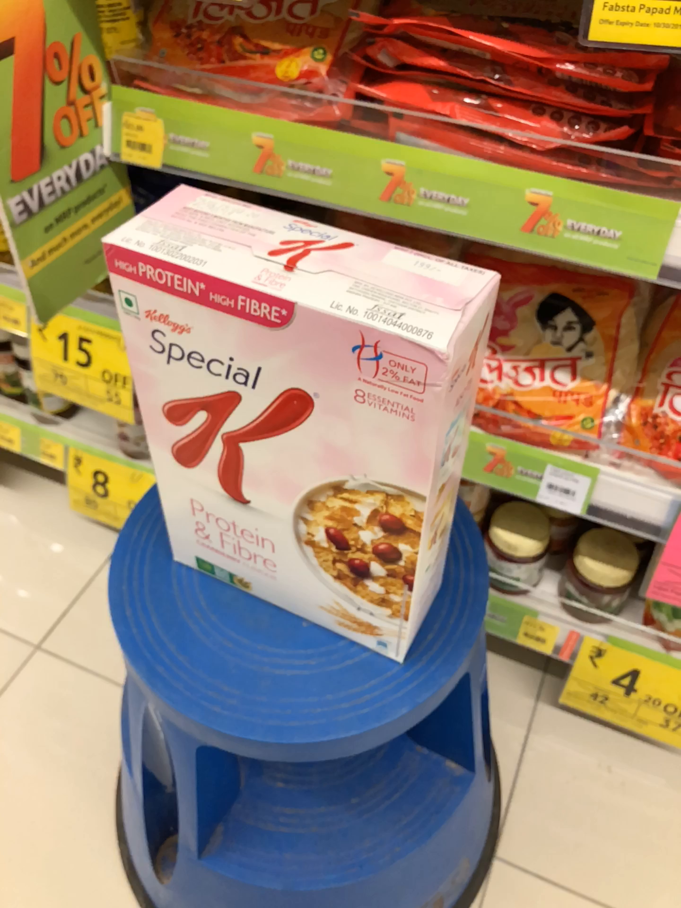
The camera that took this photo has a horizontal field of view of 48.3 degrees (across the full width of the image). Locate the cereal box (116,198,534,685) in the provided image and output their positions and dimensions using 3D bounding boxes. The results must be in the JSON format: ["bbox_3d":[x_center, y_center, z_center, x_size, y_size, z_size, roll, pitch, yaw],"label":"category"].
[{"bbox_3d":[-0.010,0.005,0.436,0.180,0.248,0.070,21,49,19],"label":"cereal box"}]
